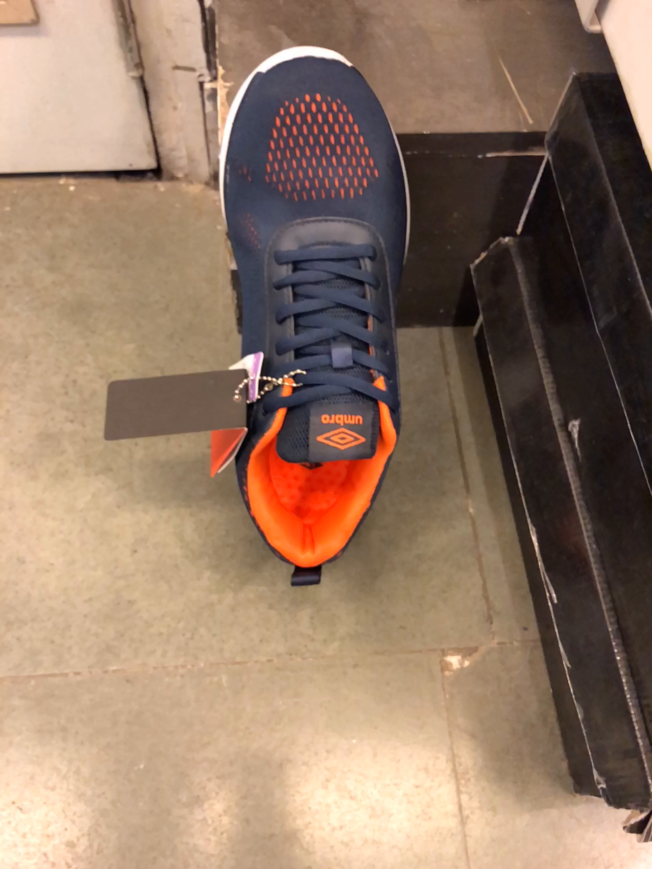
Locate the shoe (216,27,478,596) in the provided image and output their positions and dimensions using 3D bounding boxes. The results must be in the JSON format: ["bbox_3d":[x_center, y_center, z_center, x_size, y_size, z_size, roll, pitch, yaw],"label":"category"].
[{"bbox_3d":[-0.009,-0.060,0.383,0.092,0.258,0.134,-1,32,-10],"label":"shoe"}]
